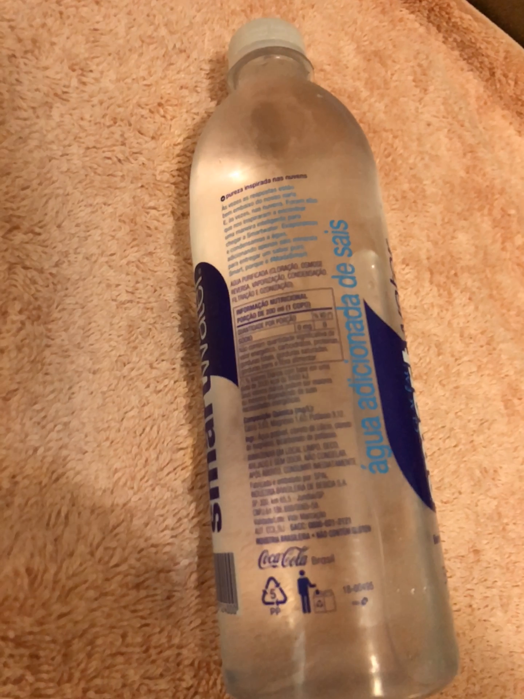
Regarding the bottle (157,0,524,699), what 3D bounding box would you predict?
[{"bbox_3d":[0.022,-0.012,0.175,0.080,0.050,0.230,8,72,-44],"label":"bottle"}]
